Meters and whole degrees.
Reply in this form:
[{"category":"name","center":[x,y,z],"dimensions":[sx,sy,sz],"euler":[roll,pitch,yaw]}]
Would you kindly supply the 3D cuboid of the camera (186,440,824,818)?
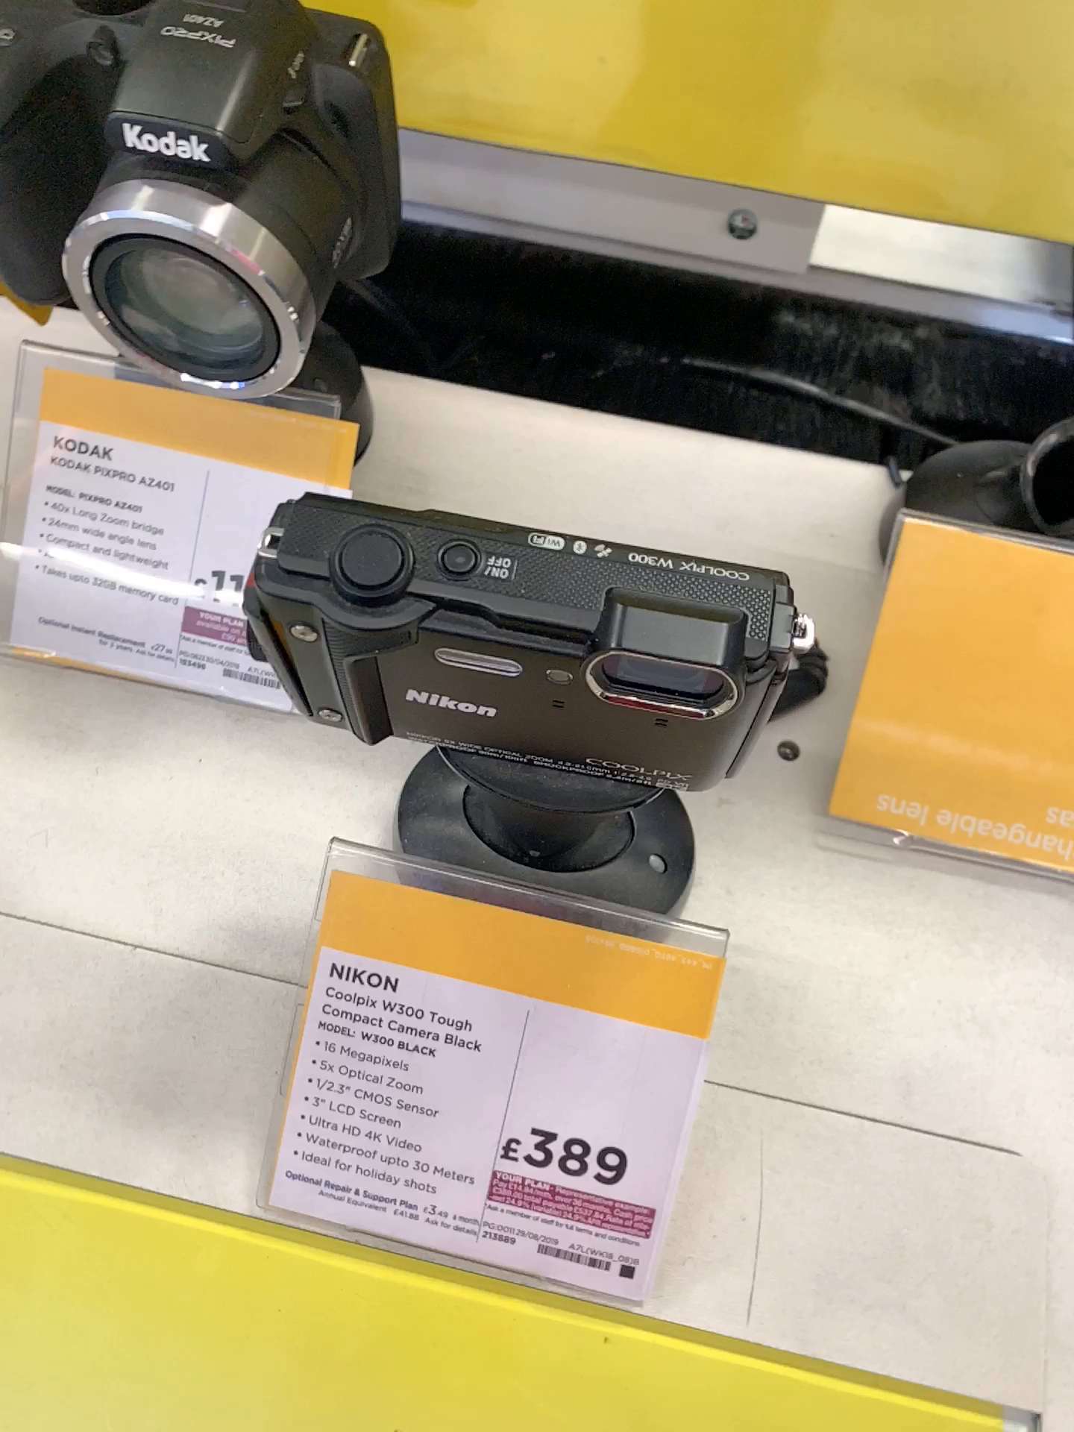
[{"category":"camera","center":[-0.006,-0.016,0.247],"dimensions":[0.120,0.070,0.030],"euler":[12,65,4]}]
